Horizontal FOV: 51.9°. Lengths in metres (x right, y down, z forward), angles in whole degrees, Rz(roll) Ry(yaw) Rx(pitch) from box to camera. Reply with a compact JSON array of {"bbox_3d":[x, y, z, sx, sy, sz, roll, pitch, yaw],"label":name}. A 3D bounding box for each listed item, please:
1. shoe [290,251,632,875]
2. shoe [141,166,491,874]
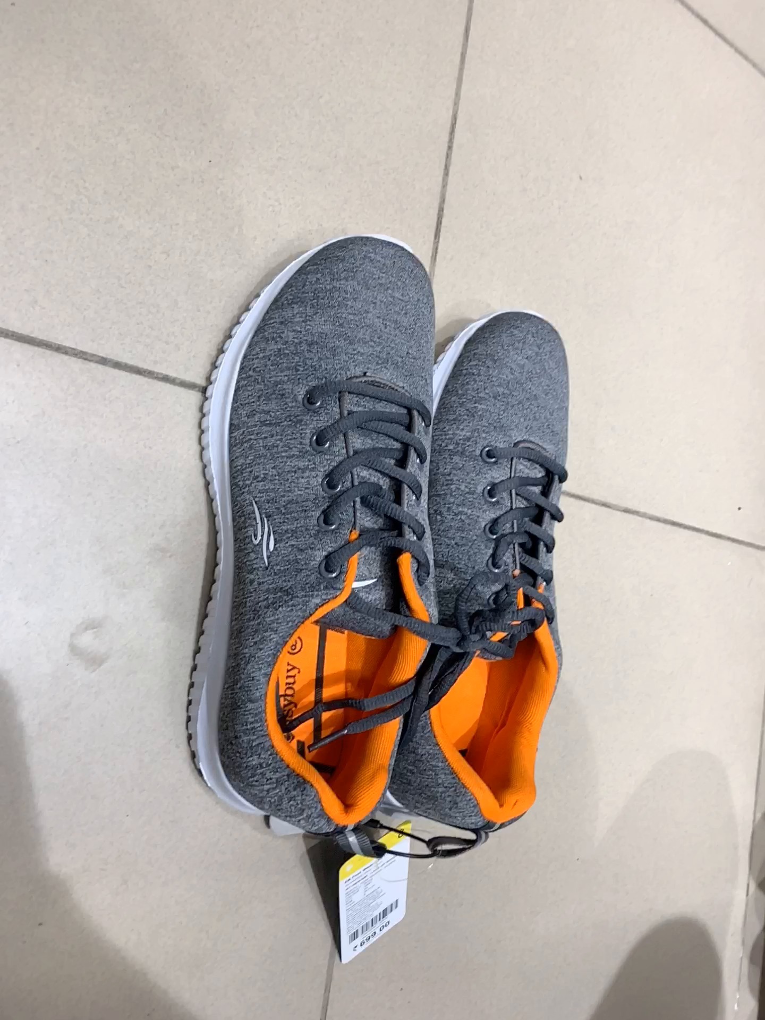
[{"bbox_3d":[0.046,0.029,0.434,0.100,0.090,0.300,17,80,-32],"label":"shoe"},{"bbox_3d":[-0.031,0.006,0.373,0.100,0.090,0.280,10,84,-33],"label":"shoe"}]
